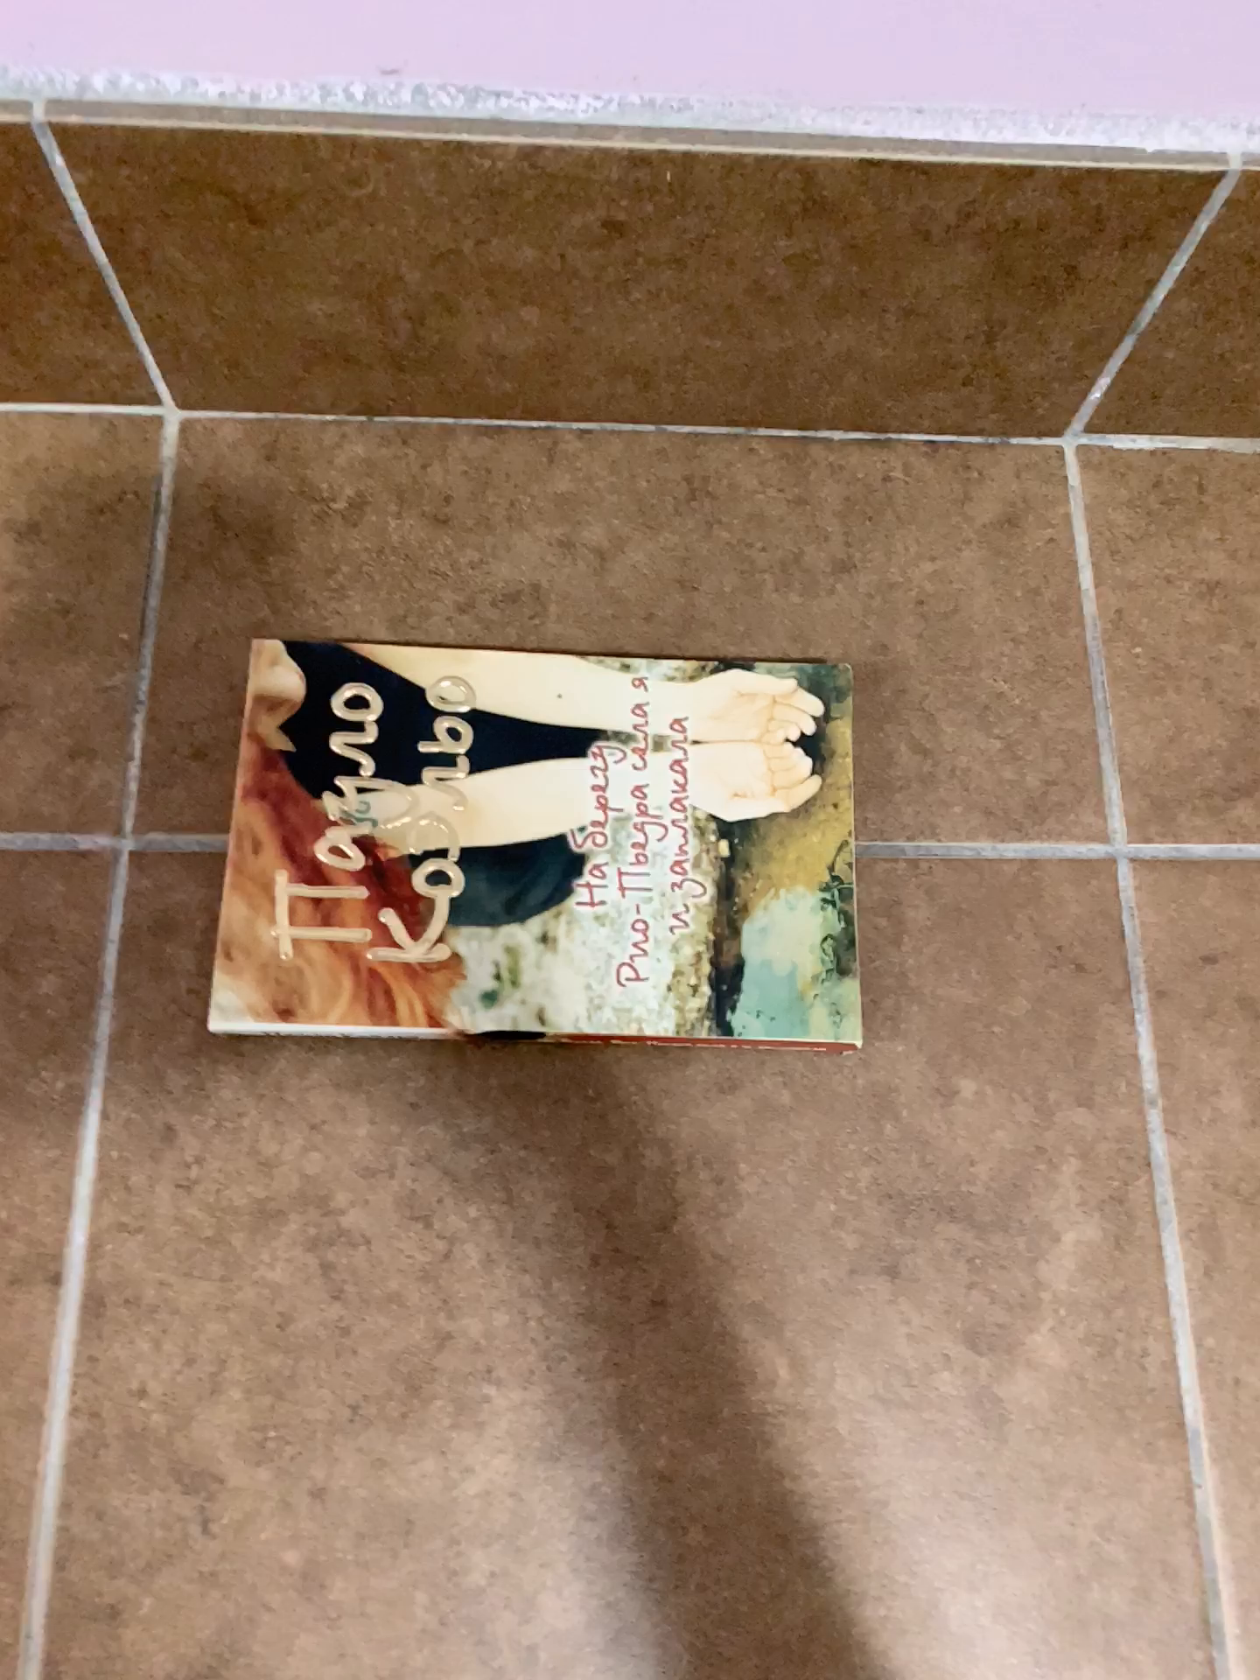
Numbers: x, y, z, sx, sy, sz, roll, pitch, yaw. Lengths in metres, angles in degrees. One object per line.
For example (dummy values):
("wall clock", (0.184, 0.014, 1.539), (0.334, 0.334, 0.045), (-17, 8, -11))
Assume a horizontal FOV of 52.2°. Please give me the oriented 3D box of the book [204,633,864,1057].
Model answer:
("book", (-0.025, 0.000, 0.379), (0.181, 0.016, 0.119), (2, 73, -2))
